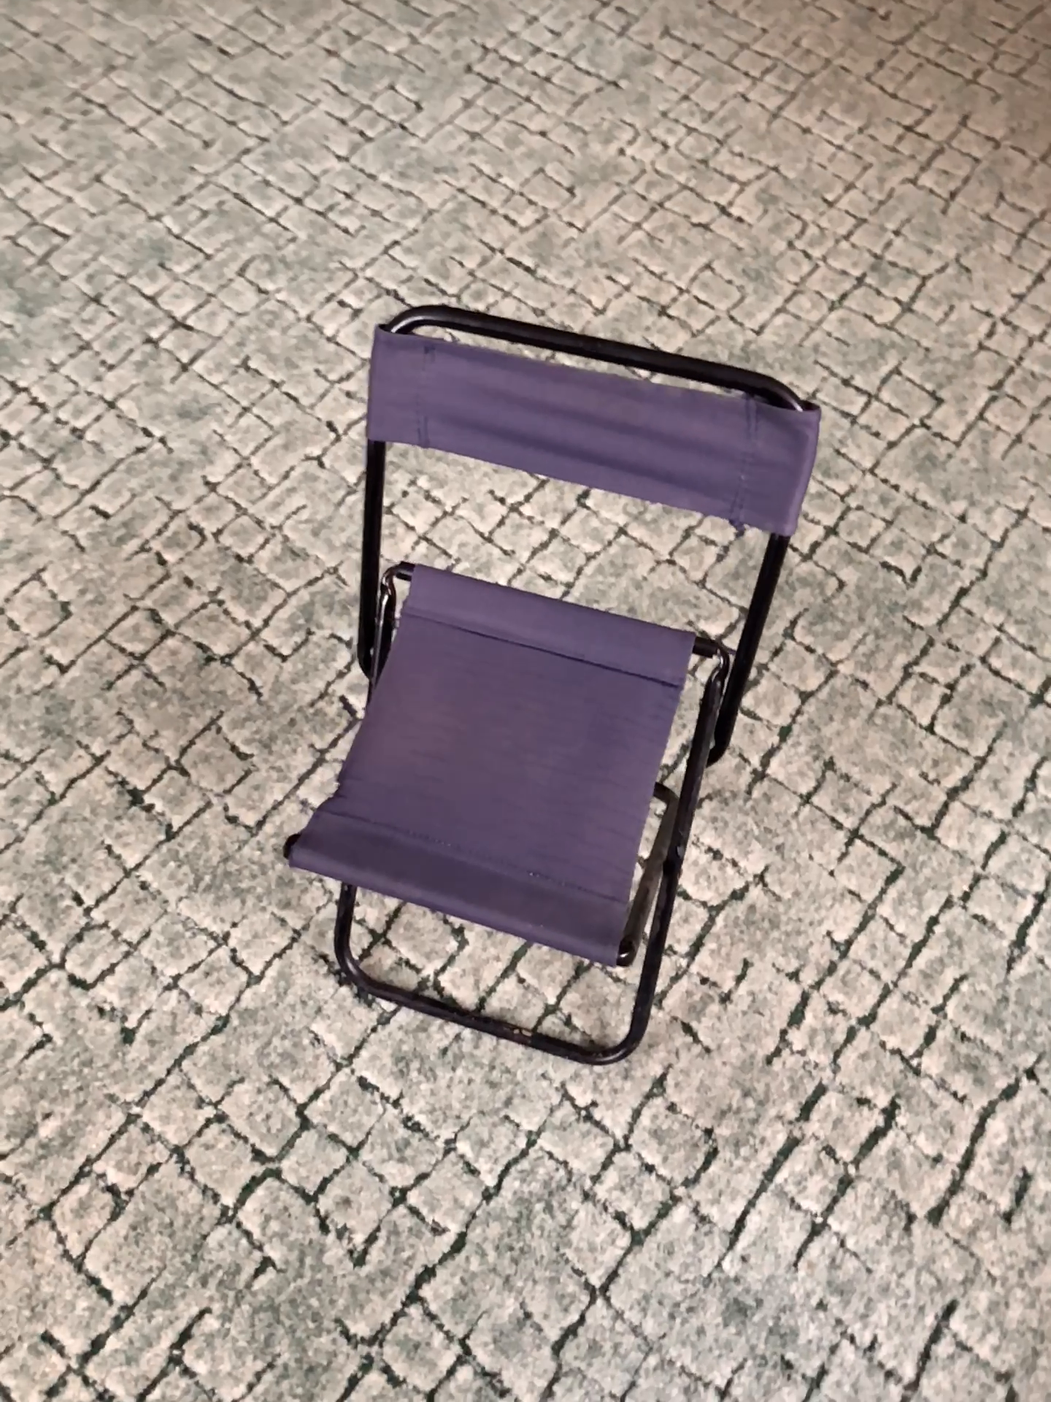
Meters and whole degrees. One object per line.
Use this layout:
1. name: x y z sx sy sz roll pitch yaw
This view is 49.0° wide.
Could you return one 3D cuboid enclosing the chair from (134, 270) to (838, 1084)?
1. chair: -0.003 0.022 0.968 0.341 0.537 0.400 15 62 8
